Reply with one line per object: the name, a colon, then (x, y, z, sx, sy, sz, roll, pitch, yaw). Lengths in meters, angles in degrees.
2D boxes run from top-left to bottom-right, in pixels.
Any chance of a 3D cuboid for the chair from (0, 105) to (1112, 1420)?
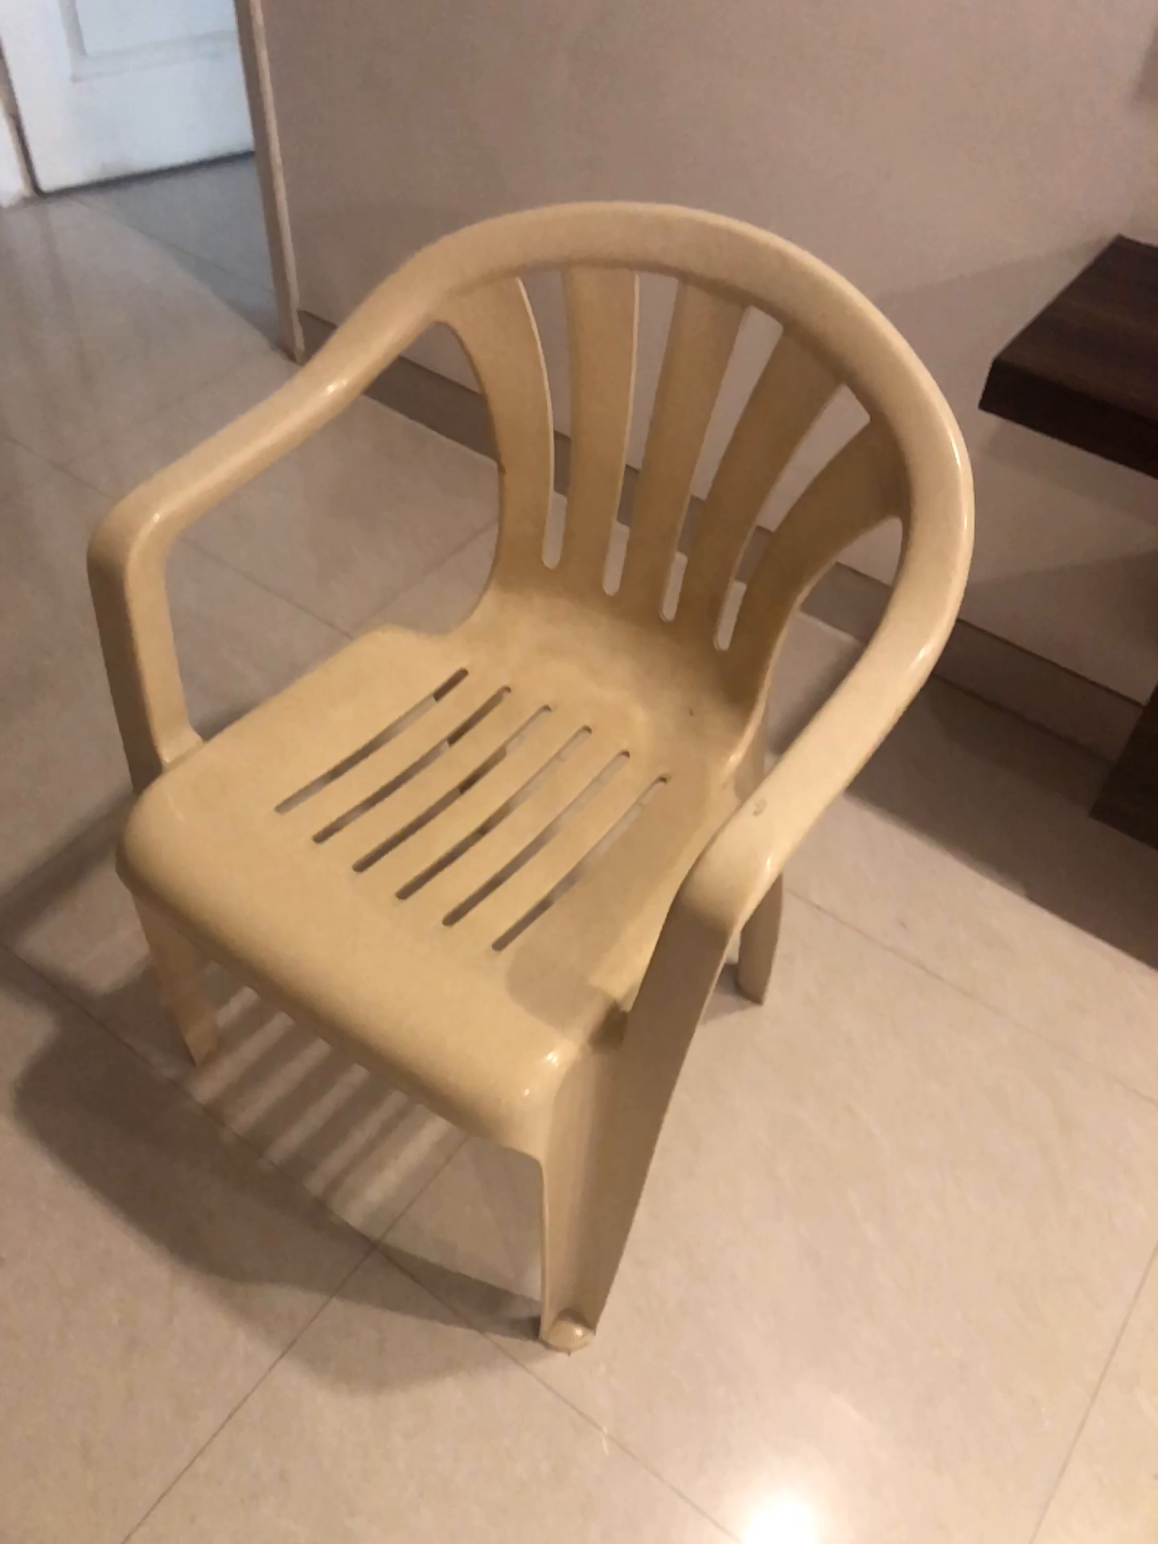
chair: (-0.056, 0.004, 1.090, 0.571, 0.775, 0.593, 29, 53, 21)
